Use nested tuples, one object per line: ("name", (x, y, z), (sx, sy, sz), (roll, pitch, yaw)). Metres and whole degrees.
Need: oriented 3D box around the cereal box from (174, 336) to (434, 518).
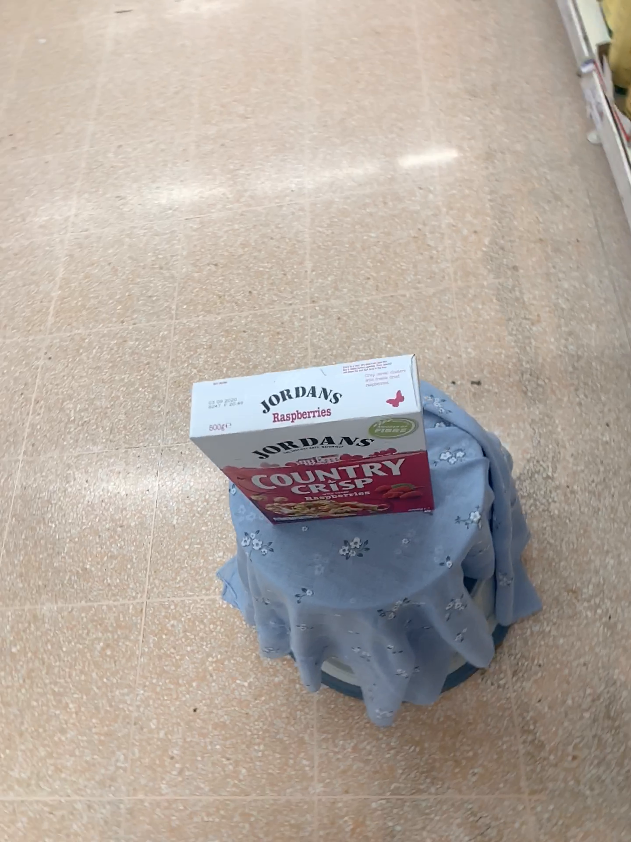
("cereal box", (0.009, 0.023, 0.629), (0.200, 0.269, 0.060), (-6, 66, 9))
